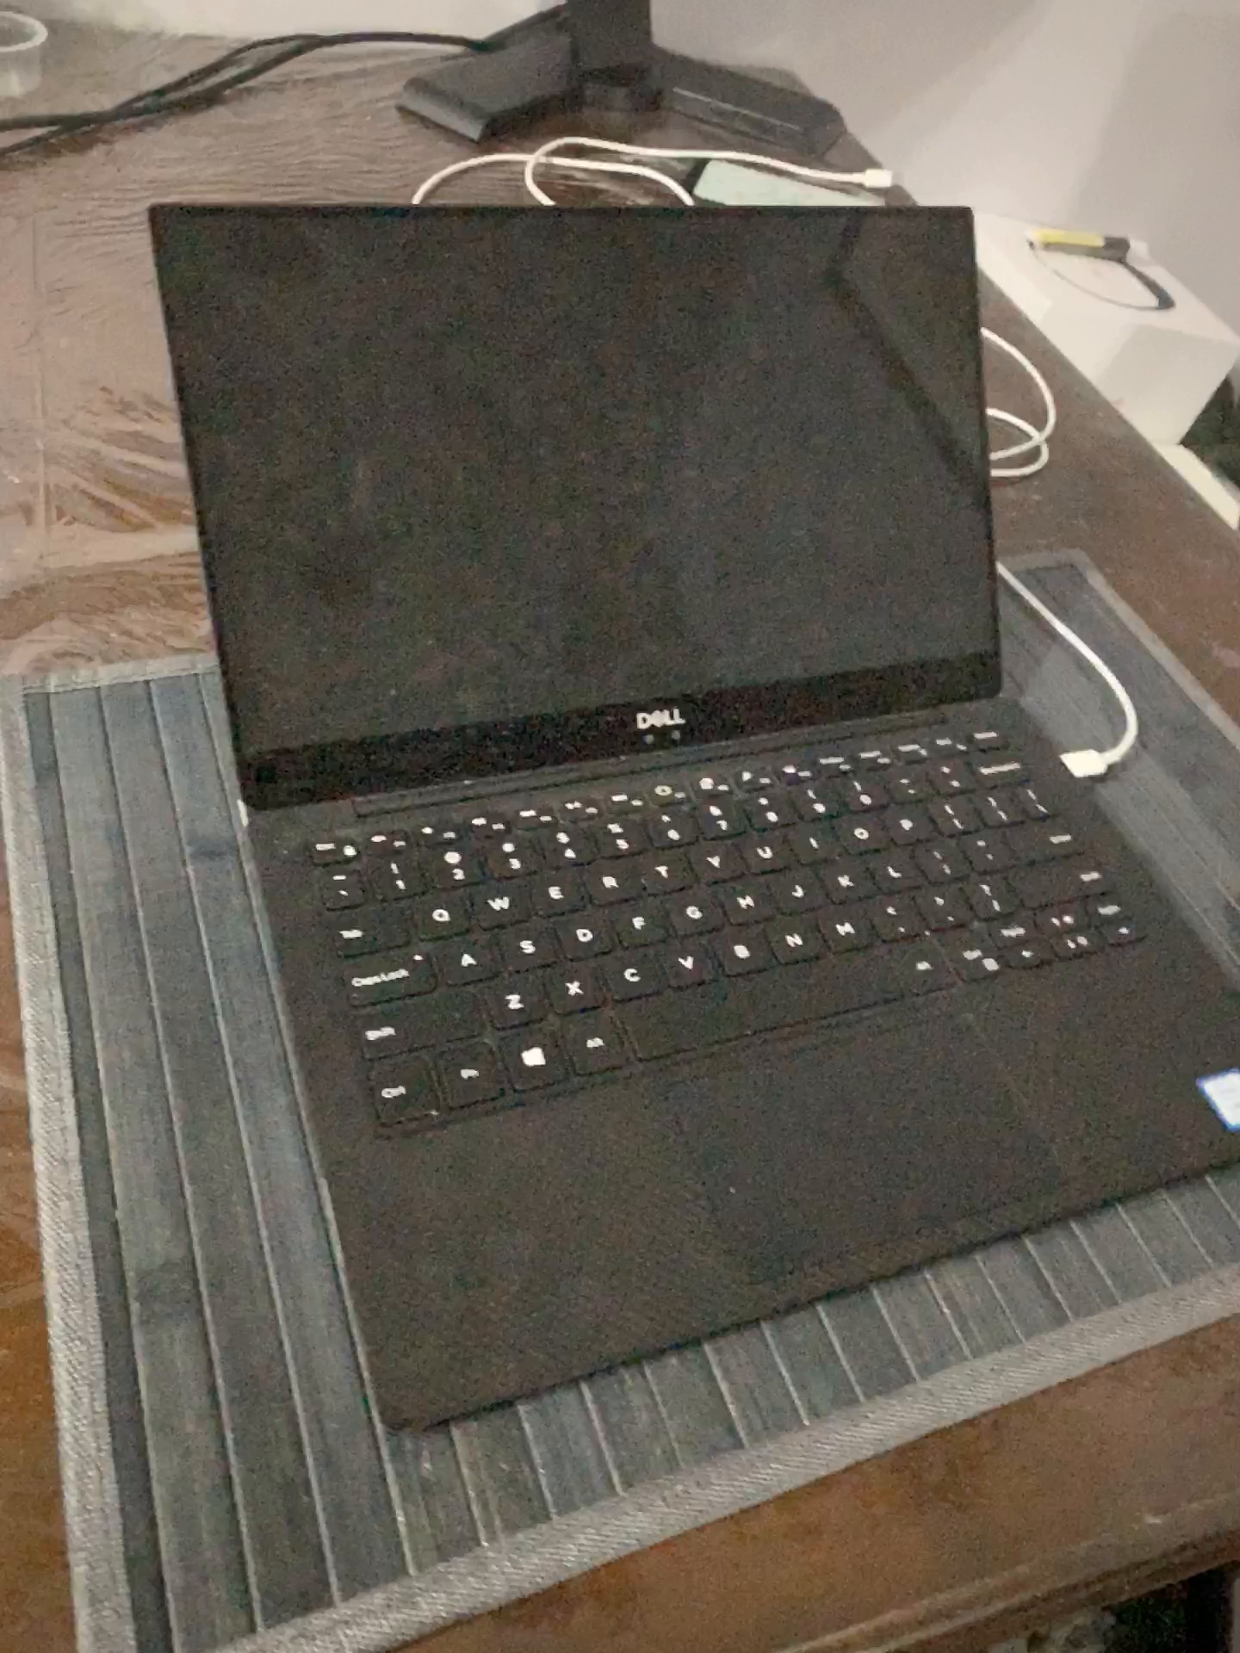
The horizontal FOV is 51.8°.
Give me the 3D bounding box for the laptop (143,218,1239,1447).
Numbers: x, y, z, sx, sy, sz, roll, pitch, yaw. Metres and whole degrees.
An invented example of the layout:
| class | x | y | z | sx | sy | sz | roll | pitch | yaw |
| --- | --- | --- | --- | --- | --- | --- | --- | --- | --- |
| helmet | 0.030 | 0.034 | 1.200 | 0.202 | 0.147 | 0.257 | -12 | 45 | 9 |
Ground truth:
| class | x | y | z | sx | sy | sz | roll | pitch | yaw |
| --- | --- | --- | --- | --- | --- | --- | --- | --- | --- |
| laptop | 0.038 | -0.041 | 0.364 | 0.282 | 0.129 | 0.298 | -10 | 51 | -20 |
